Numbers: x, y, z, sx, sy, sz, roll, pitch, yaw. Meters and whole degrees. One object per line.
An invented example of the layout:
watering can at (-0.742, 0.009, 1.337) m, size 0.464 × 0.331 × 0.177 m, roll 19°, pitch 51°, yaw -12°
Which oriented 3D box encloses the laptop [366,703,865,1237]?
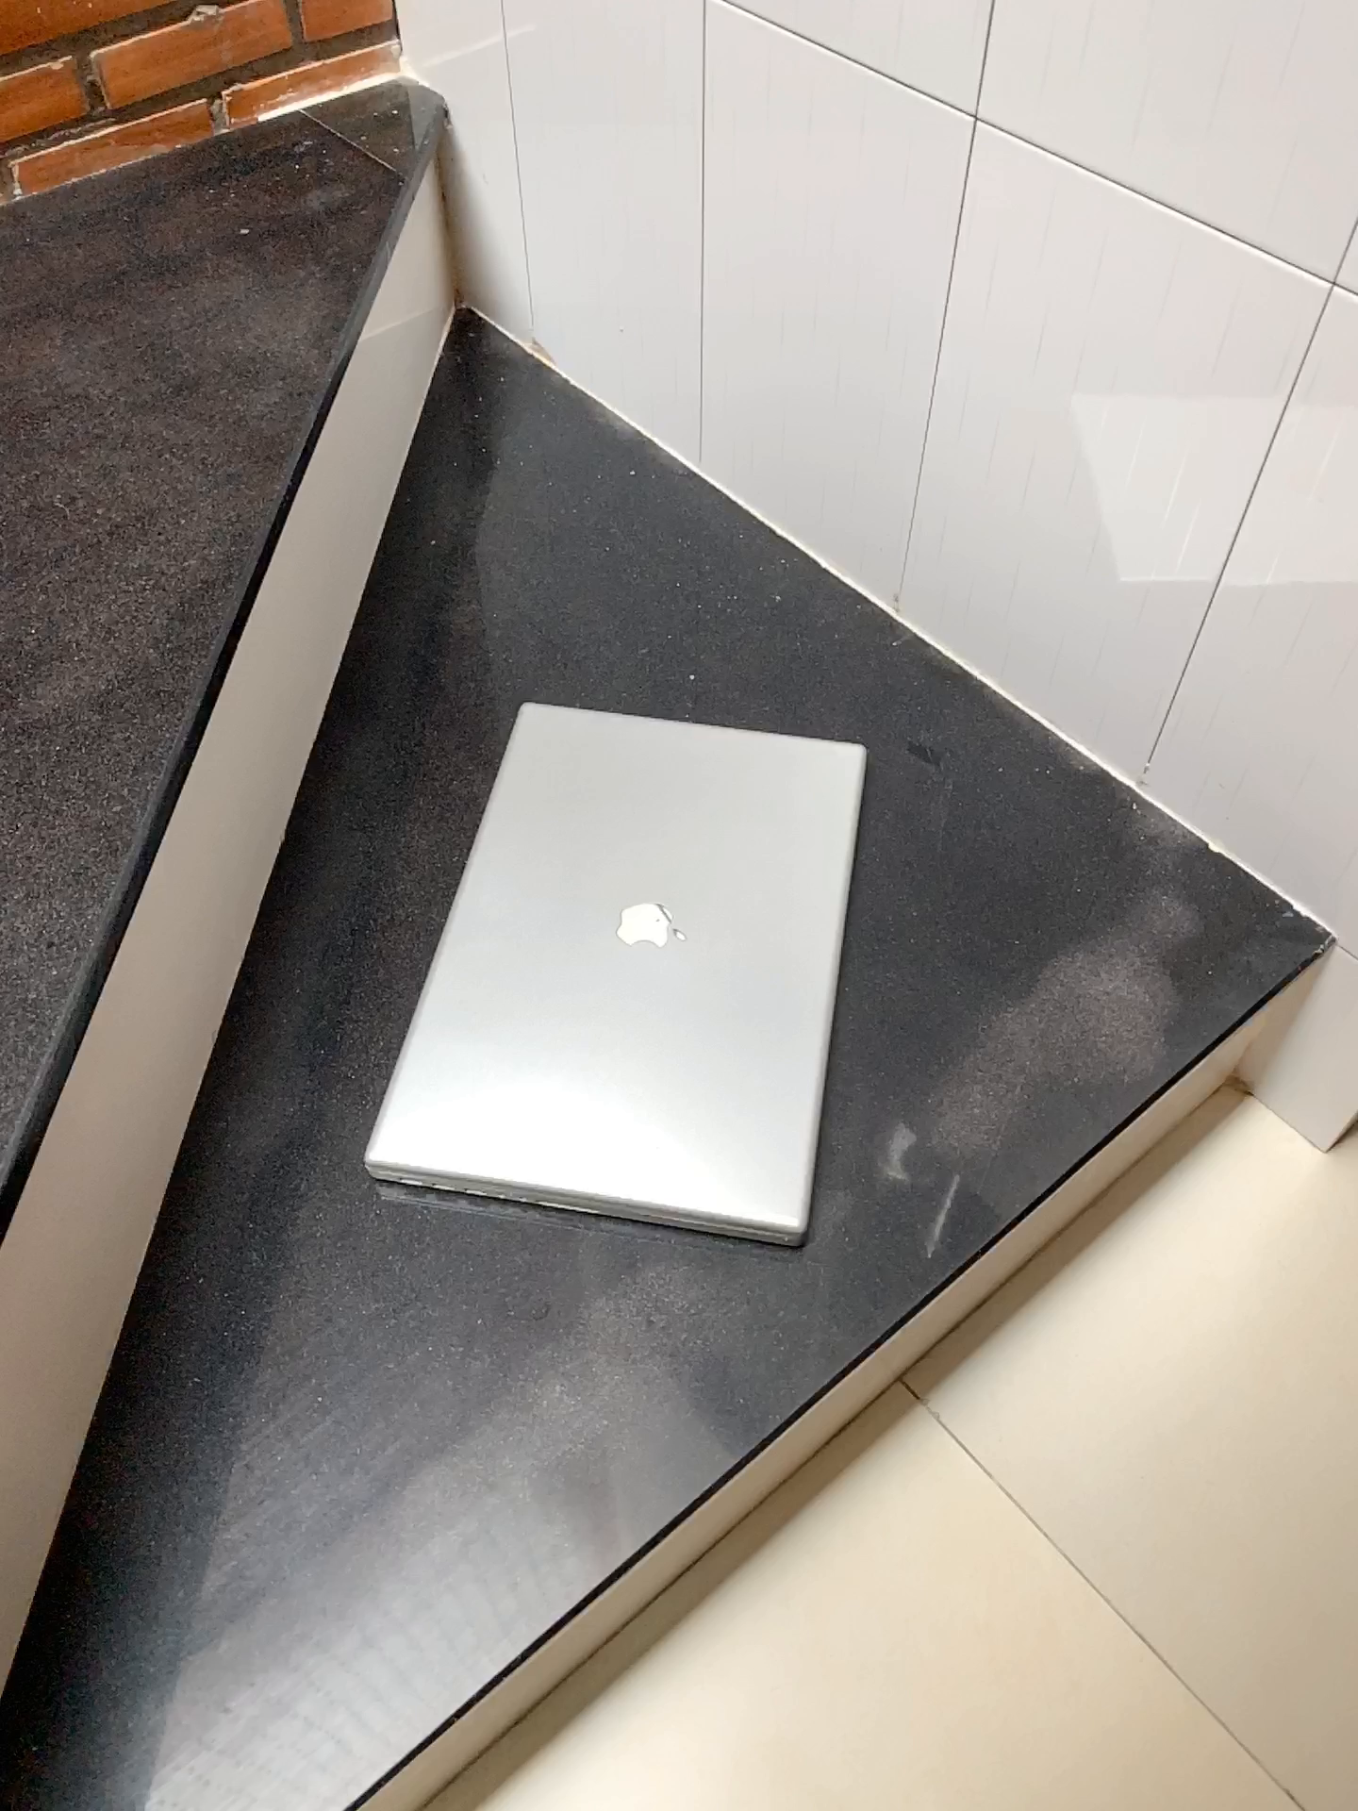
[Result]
laptop at (-0.025, 0.023, 1.056) m, size 0.291 × 0.013 × 0.441 m, roll 9°, pitch 53°, yaw 4°
